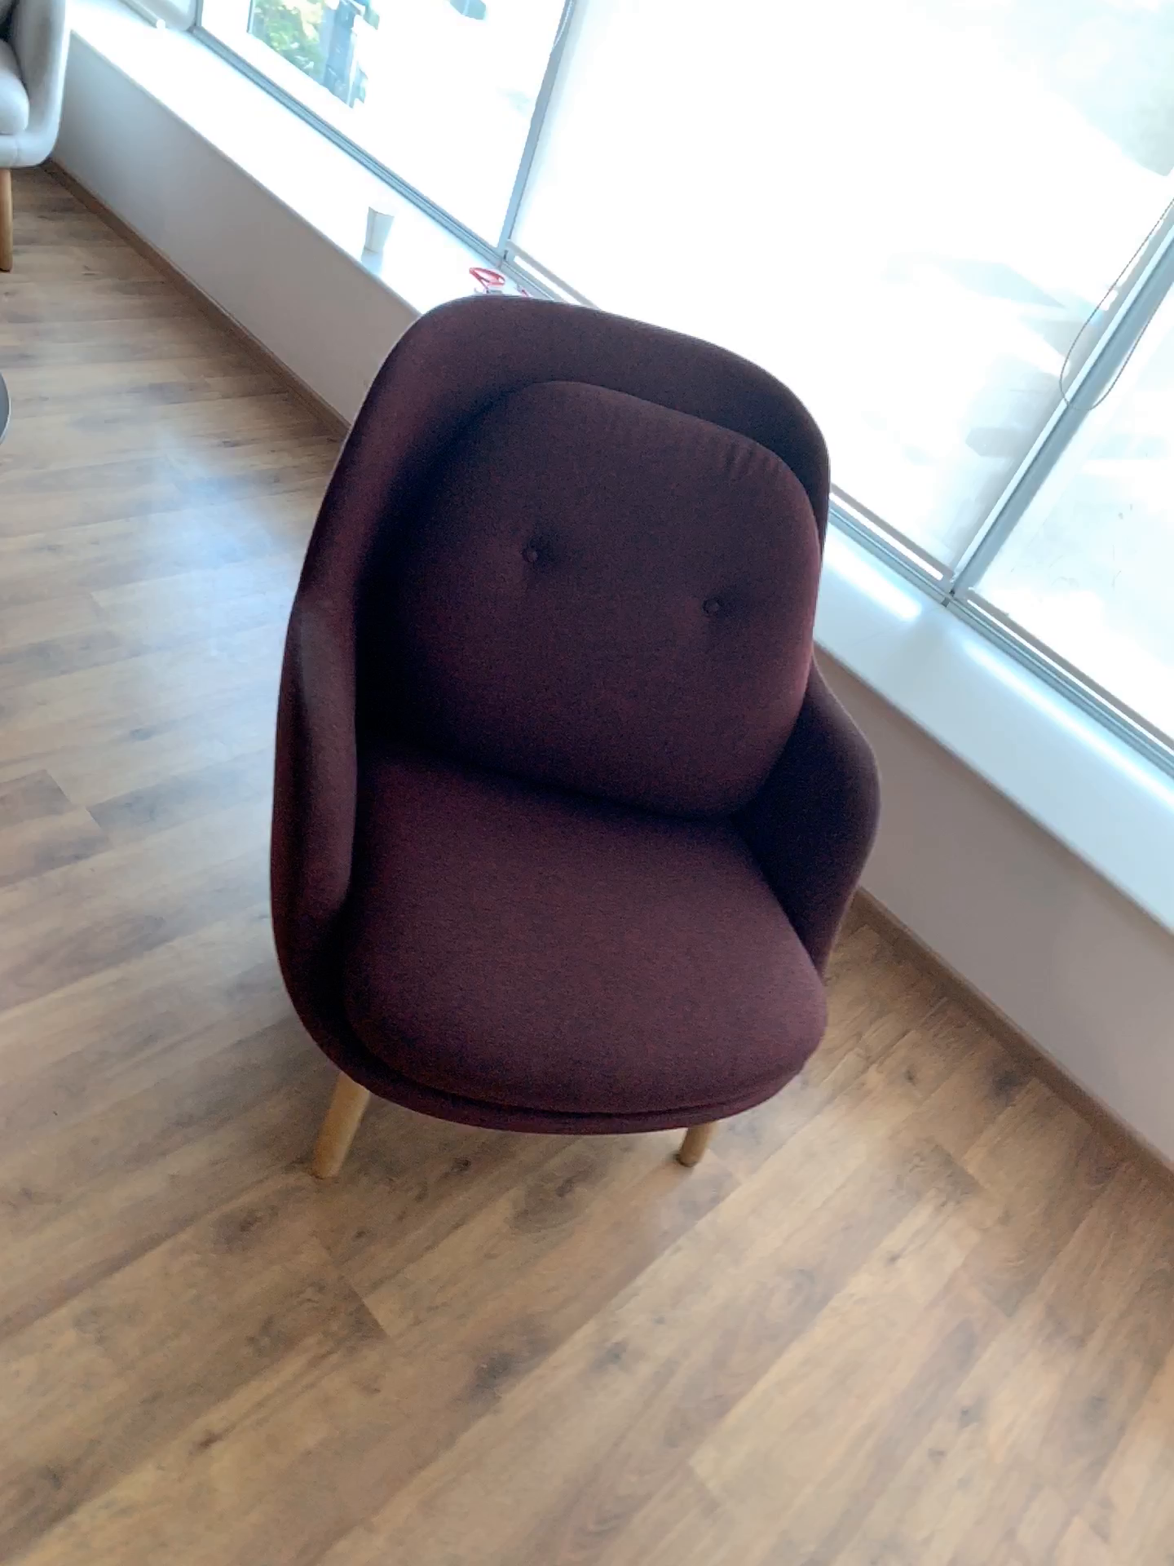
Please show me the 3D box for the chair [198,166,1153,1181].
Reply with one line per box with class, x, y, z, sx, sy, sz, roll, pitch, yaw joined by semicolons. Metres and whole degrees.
chair;-0.031;-0.053;1.436;0.691;0.932;0.635;7;42;-20
